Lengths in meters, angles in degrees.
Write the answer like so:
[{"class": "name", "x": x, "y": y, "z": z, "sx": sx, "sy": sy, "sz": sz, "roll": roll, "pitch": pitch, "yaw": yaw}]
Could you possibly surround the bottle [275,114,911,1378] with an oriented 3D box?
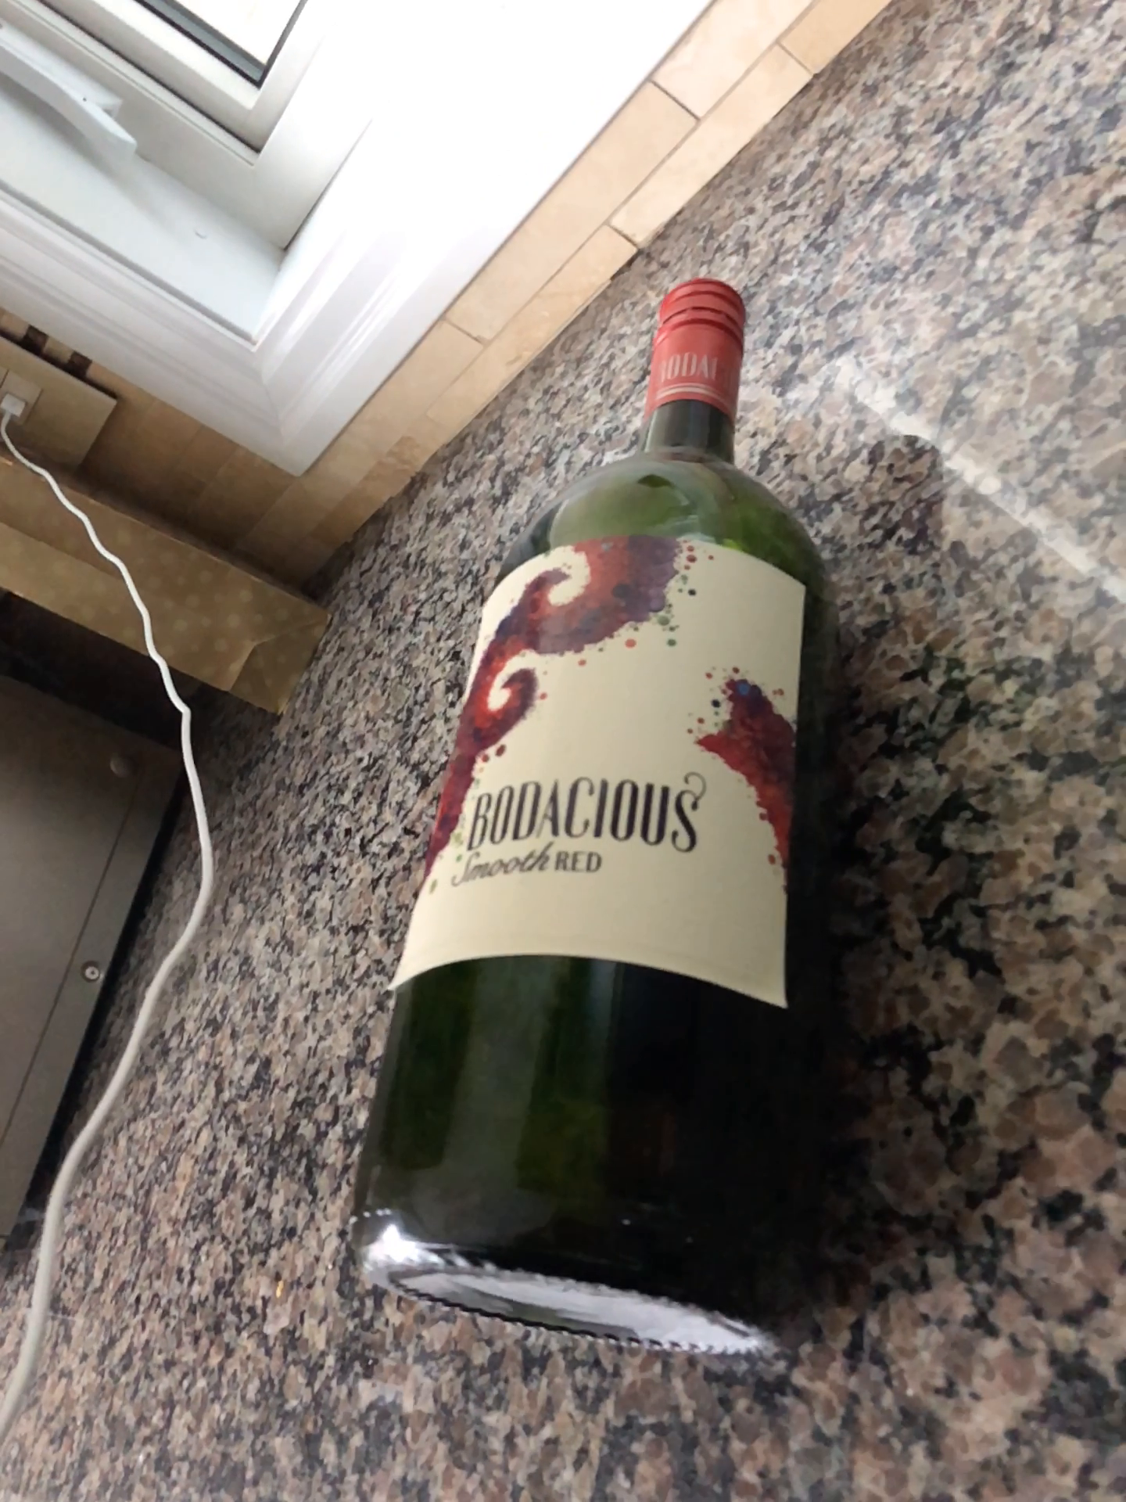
[{"class": "bottle", "x": 0.030, "y": -0.028, "z": 0.346, "sx": 0.100, "sy": 0.110, "sz": 0.340, "roll": 85, "pitch": -167, "yaw": -58}]
